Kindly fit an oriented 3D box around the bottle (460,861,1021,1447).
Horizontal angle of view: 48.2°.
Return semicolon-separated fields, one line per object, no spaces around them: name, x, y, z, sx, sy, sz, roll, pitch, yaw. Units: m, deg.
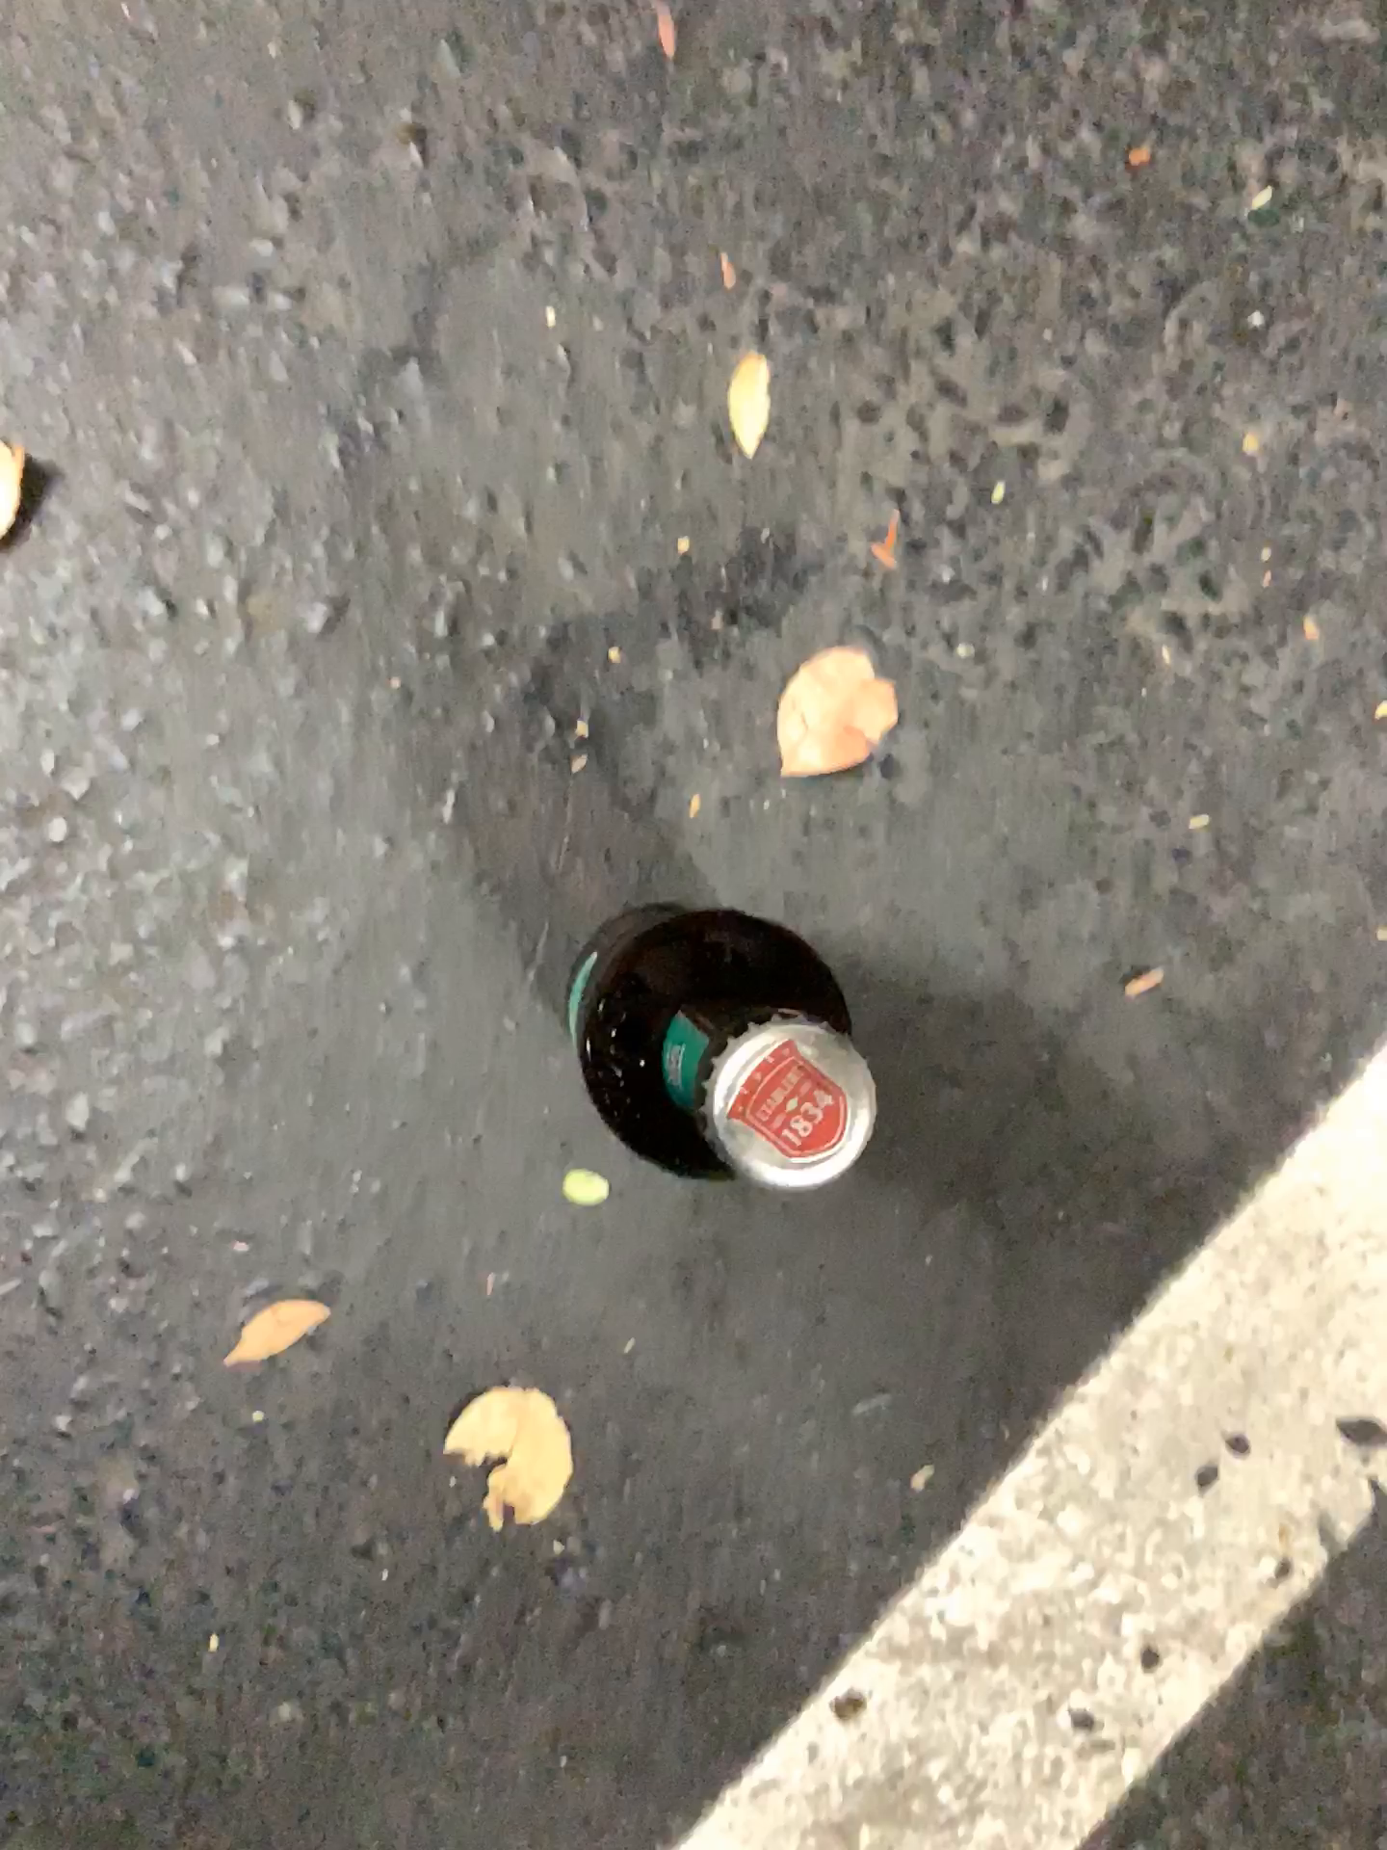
bottle;-0.001;0.031;0.342;0.070;0.210;0.070;0;93;-5
